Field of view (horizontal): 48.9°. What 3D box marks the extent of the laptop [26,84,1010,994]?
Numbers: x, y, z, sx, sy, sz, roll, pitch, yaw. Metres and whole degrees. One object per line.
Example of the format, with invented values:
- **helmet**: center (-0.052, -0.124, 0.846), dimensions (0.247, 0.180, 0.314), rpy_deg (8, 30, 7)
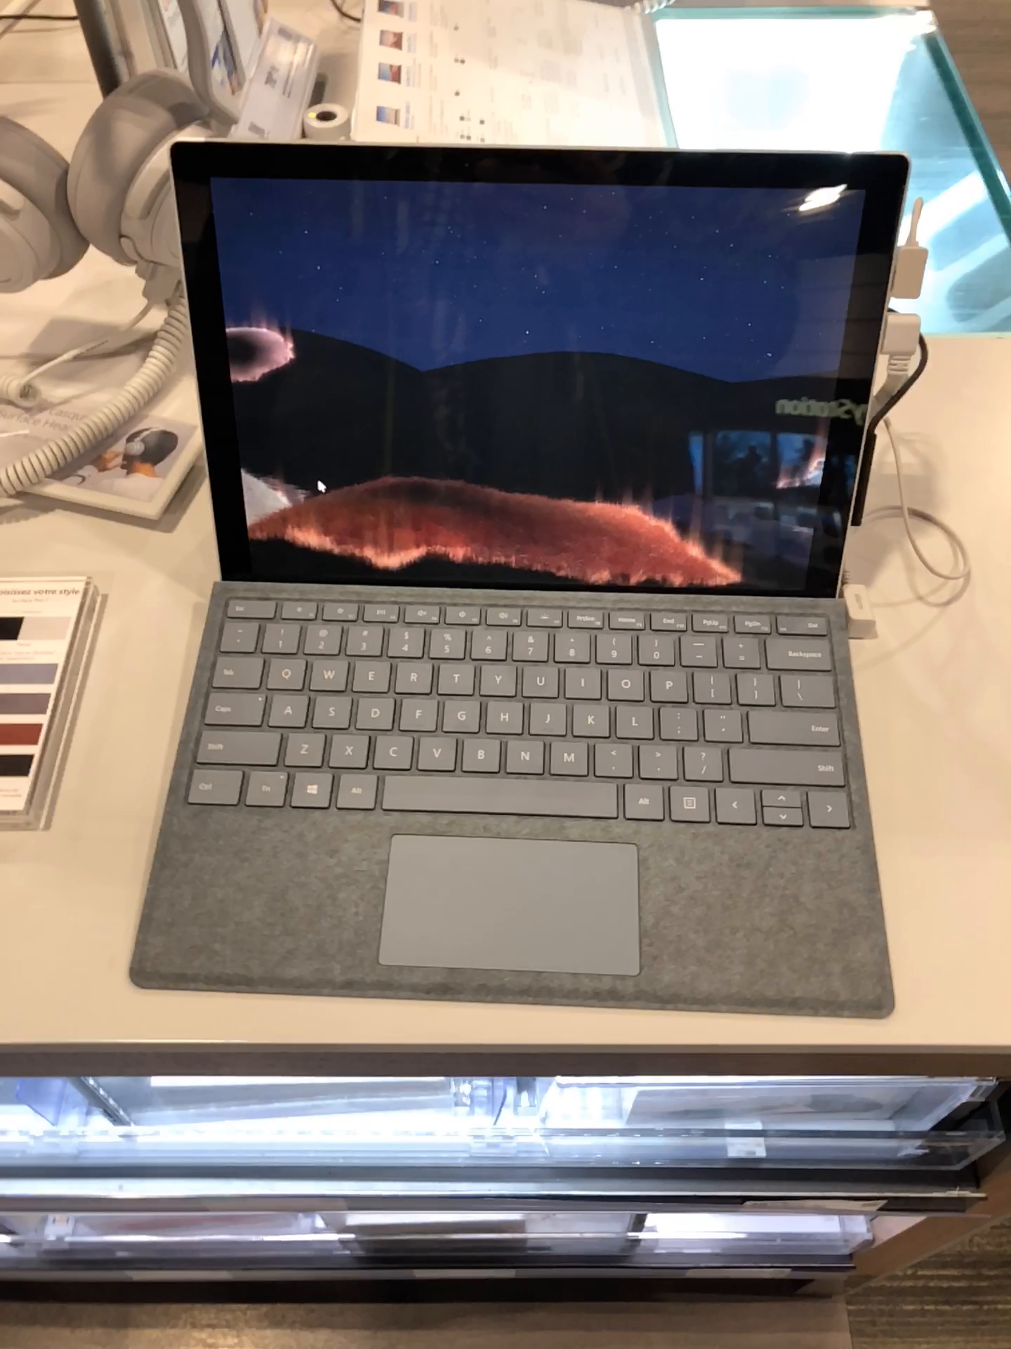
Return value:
- **laptop**: center (0.016, -0.052, 0.416), dimensions (0.261, 0.143, 0.284), rpy_deg (2, 60, 6)
